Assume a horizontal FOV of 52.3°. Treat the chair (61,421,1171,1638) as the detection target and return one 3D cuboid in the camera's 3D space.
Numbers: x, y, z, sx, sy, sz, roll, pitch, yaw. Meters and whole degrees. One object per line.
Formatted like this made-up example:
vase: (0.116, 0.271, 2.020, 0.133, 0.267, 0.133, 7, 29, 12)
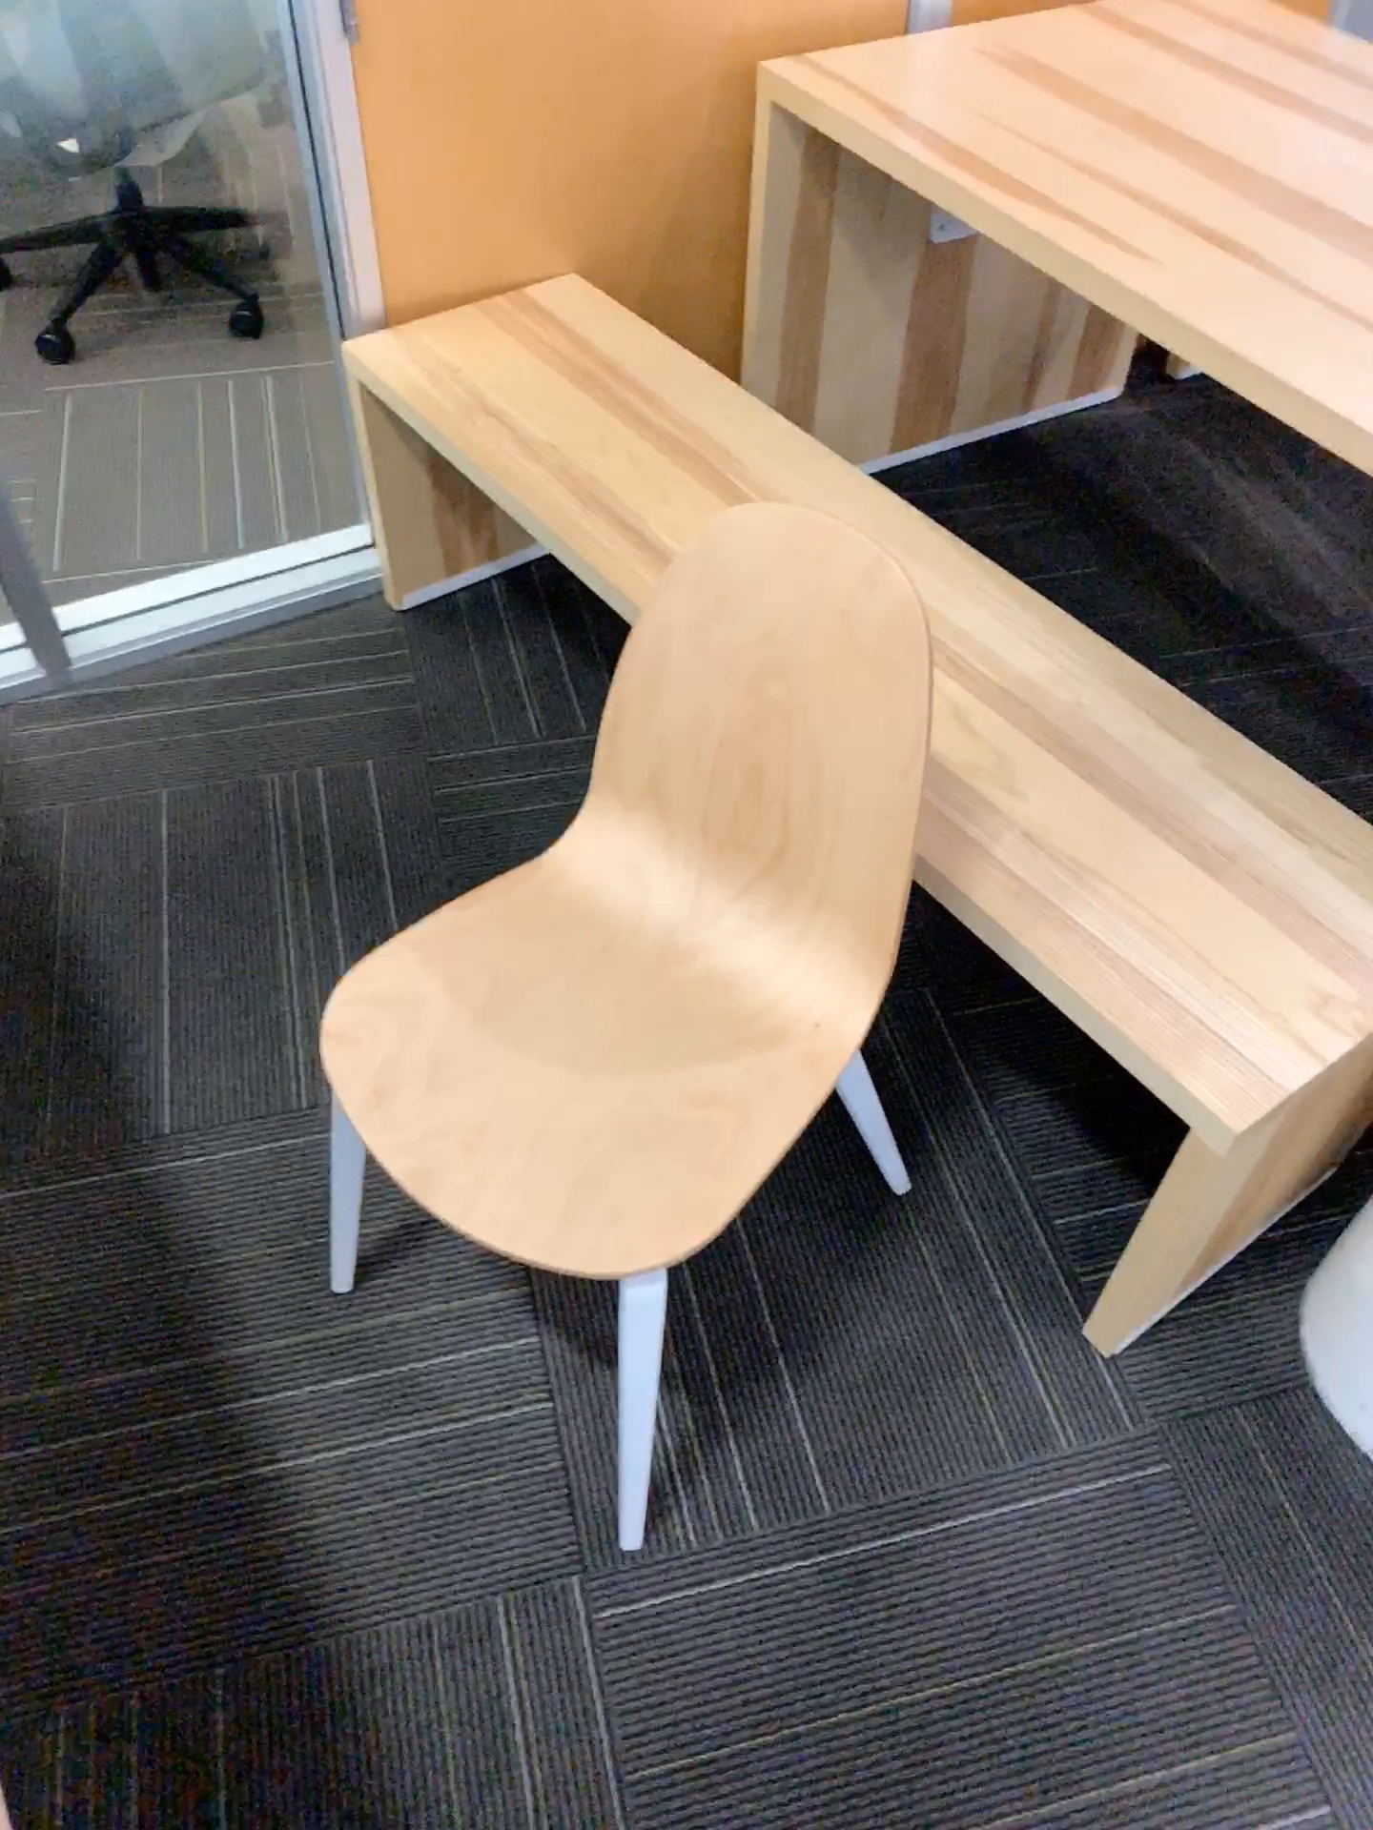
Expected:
chair: (-0.043, 0.128, 1.326, 0.542, 0.837, 0.600, 33, 56, 25)
